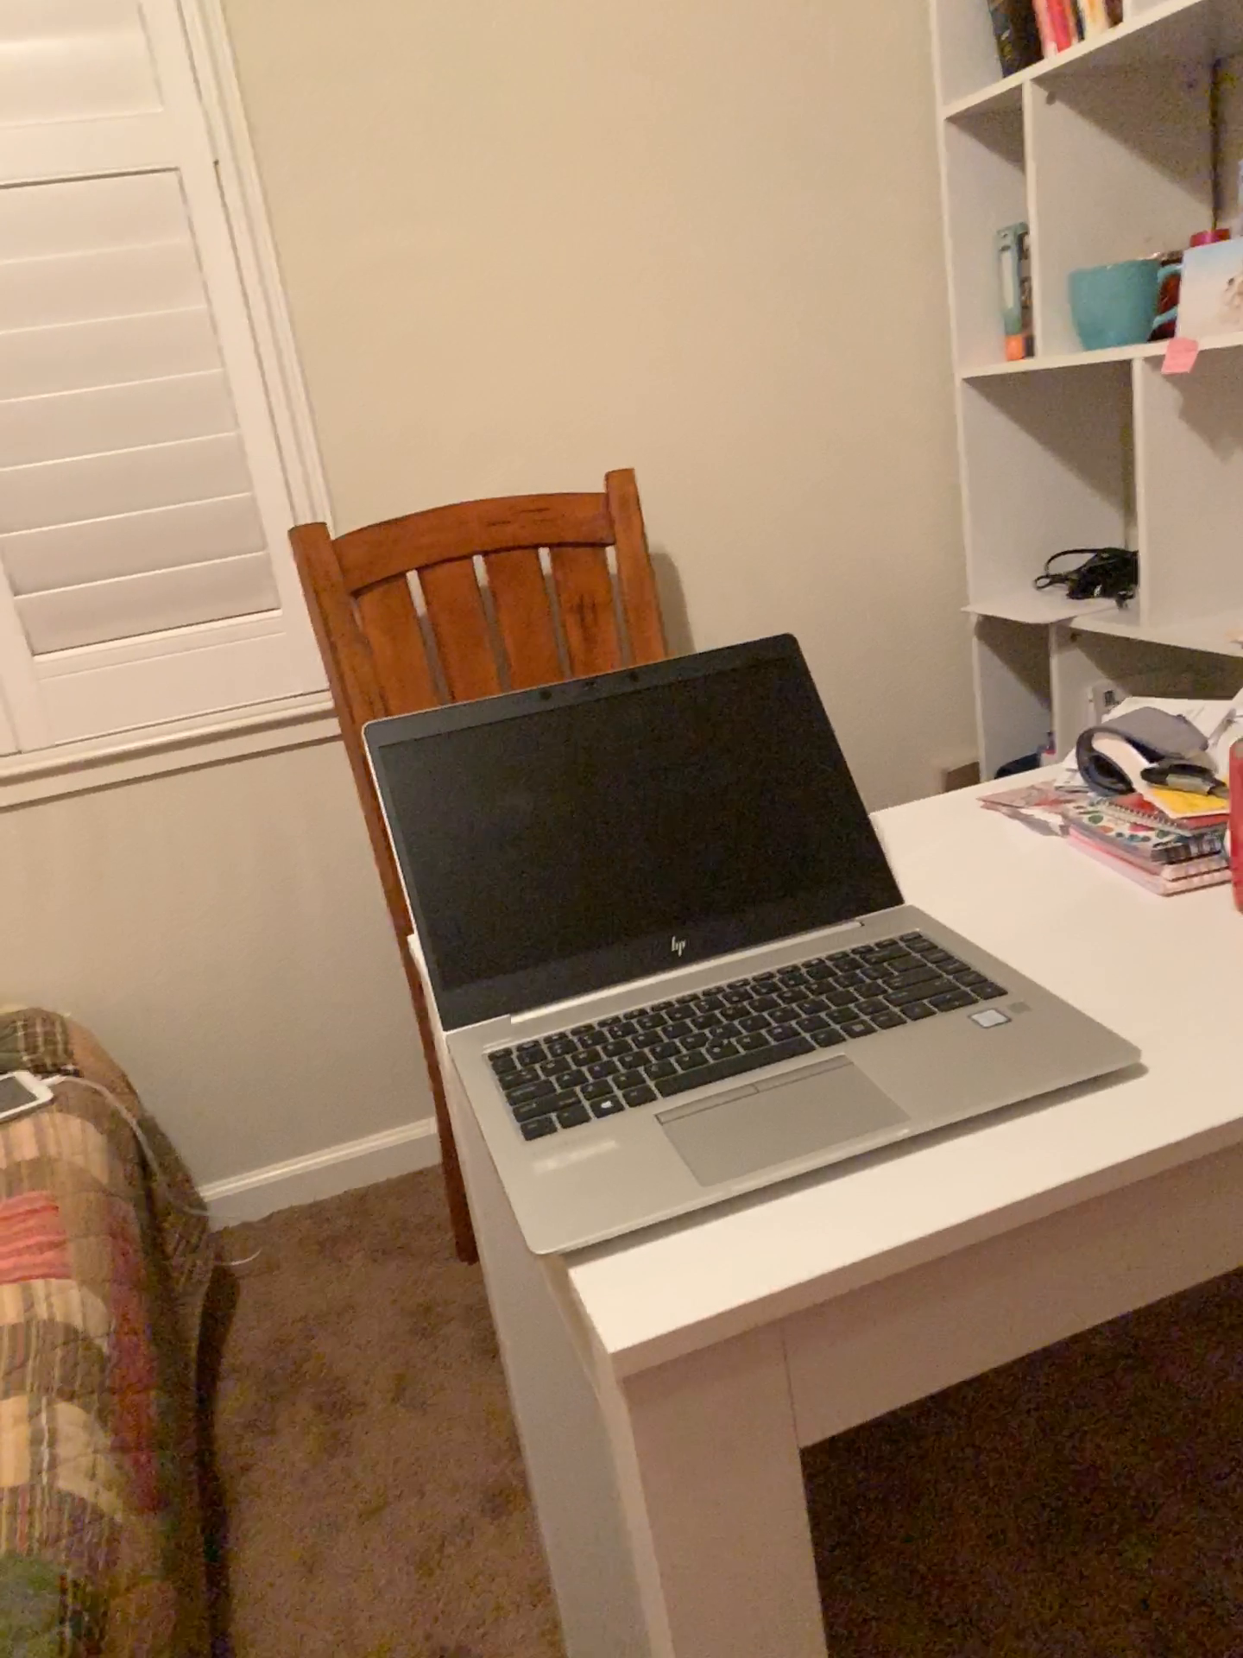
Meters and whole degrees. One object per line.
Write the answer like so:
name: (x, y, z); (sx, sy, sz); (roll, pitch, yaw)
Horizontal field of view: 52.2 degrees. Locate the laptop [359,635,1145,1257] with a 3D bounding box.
laptop: (0.041, 0.021, 0.719); (0.310, 0.159, 0.366); (-13, 19, -15)
